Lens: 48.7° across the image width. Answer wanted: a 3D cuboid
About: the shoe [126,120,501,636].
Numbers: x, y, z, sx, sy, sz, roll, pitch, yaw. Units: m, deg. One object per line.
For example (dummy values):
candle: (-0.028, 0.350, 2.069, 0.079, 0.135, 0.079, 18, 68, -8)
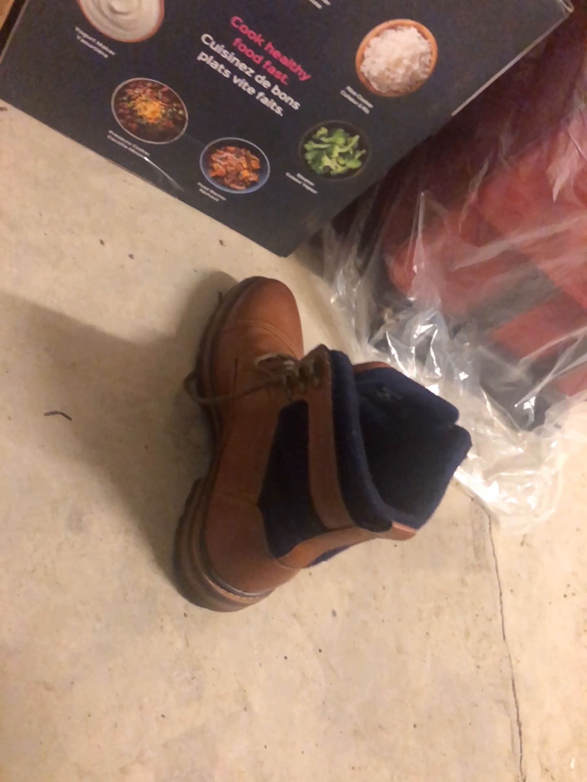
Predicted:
shoe: (0.011, -0.001, 0.481, 0.132, 0.201, 0.303, 26, 51, -31)
